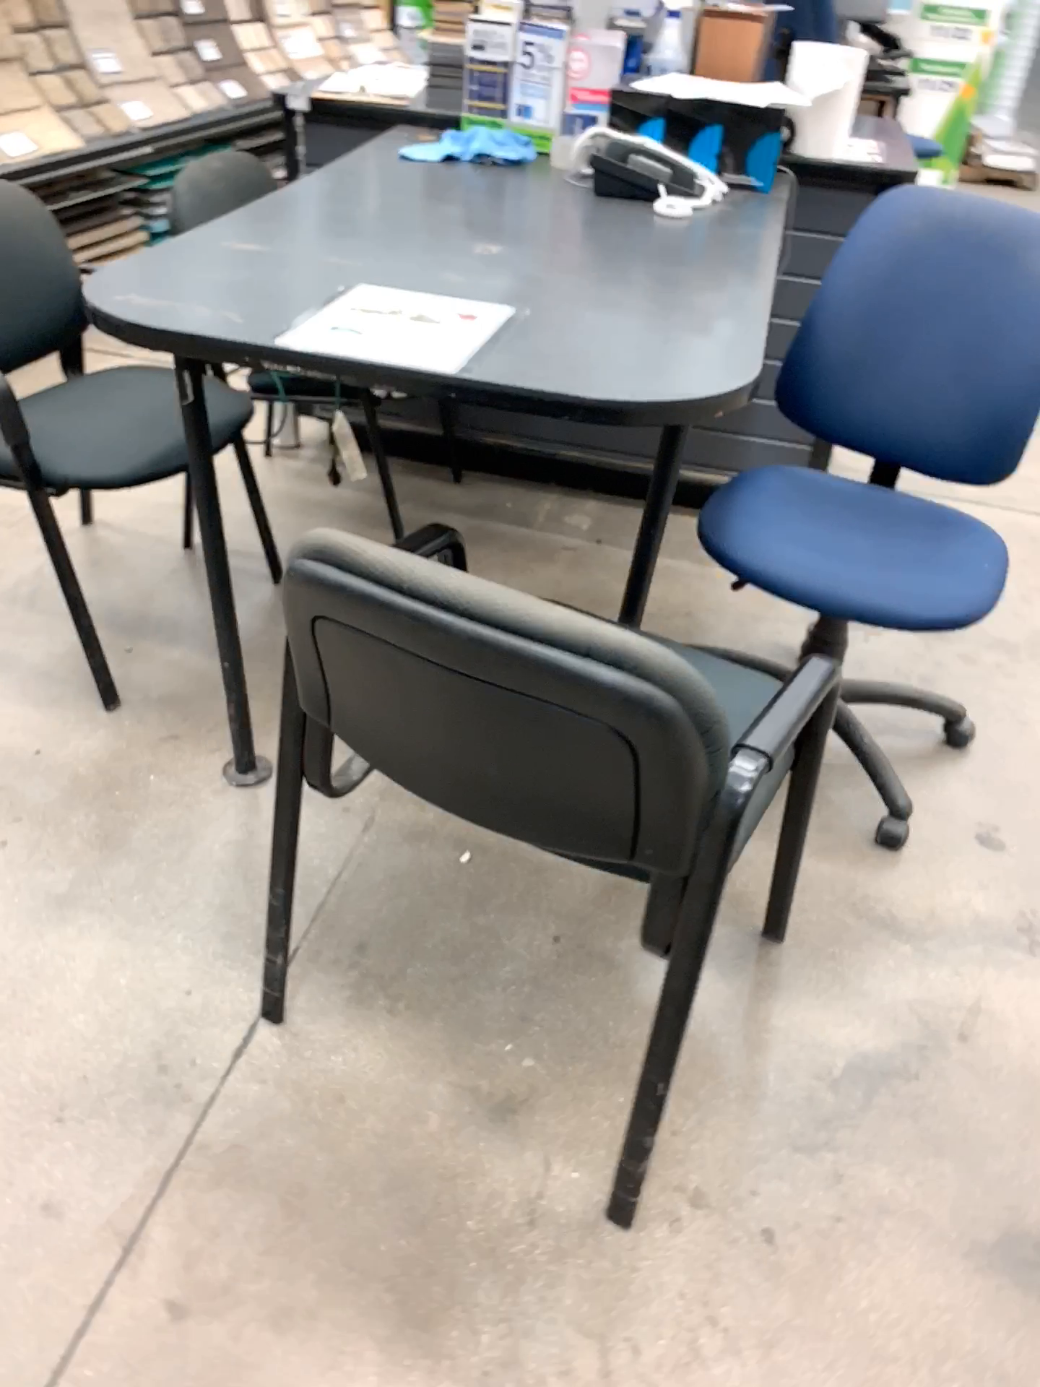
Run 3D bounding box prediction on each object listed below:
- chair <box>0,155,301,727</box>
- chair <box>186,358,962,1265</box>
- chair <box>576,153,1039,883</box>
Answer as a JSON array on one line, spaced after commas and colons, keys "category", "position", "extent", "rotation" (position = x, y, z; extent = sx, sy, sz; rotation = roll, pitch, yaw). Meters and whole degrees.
[{"category": "chair", "position": [-0.859, -0.504, 2.021], "extent": [0.583, 0.777, 0.639], "rotation": [18, 37, 17]}, {"category": "chair", "position": [0.065, 0.101, 1.323], "extent": [0.605, 0.750, 0.587], "rotation": [22, 39, 21]}, {"category": "chair", "position": [0.594, -0.344, 1.865], "extent": [0.644, 0.917, 0.718], "rotation": [22, 39, 22]}]
